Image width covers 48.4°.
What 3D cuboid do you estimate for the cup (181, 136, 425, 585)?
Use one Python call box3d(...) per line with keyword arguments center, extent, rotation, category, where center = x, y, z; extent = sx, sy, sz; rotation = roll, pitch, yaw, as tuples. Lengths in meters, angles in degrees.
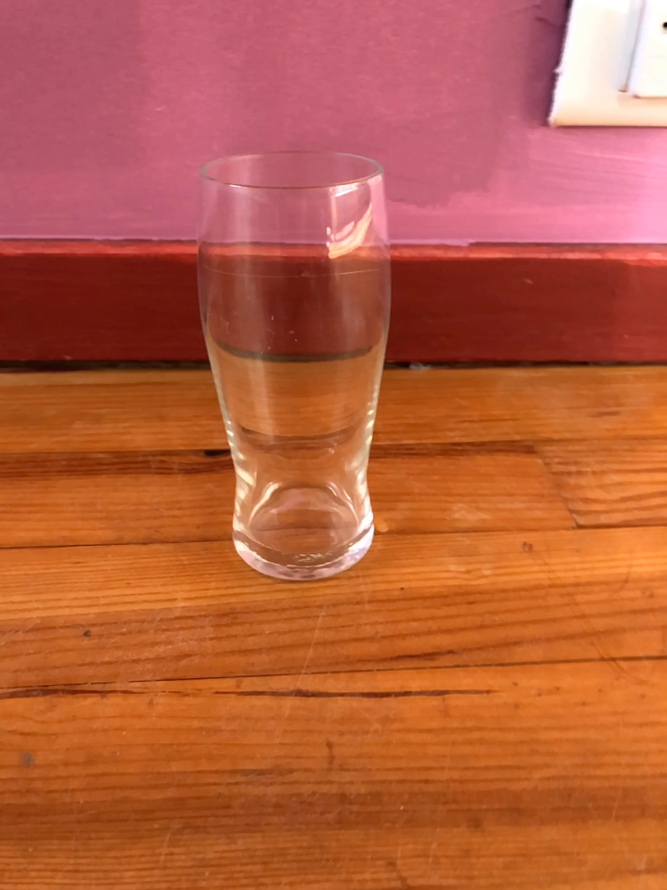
box3d(center=(-0.014, -0.029, 0.268), extent=(0.064, 0.143, 0.061), rotation=(1, 30, -1), category="cup")
